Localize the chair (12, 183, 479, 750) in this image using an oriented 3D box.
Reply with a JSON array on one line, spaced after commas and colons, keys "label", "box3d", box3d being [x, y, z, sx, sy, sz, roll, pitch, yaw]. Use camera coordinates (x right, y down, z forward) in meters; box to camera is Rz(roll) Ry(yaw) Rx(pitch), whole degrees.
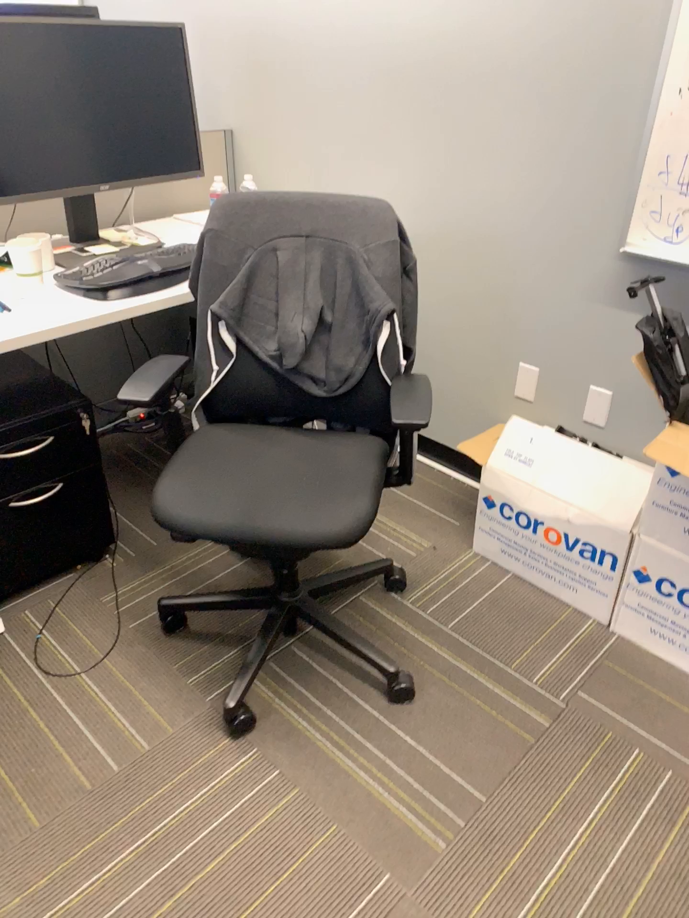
[{"label": "chair", "box3d": [-0.137, -0.025, 1.611, 0.680, 0.994, 0.805, 3, 31, 2]}]
